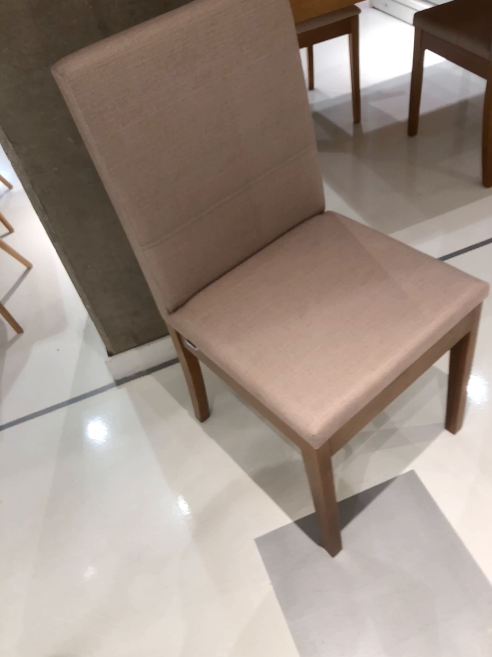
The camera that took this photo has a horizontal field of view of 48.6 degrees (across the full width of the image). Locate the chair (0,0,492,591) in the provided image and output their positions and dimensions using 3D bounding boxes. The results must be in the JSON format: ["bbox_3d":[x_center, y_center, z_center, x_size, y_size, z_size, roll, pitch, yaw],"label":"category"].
[{"bbox_3d":[0.103,-0.069,1.050,0.562,0.933,0.542,-36,49,-21],"label":"chair"}]
